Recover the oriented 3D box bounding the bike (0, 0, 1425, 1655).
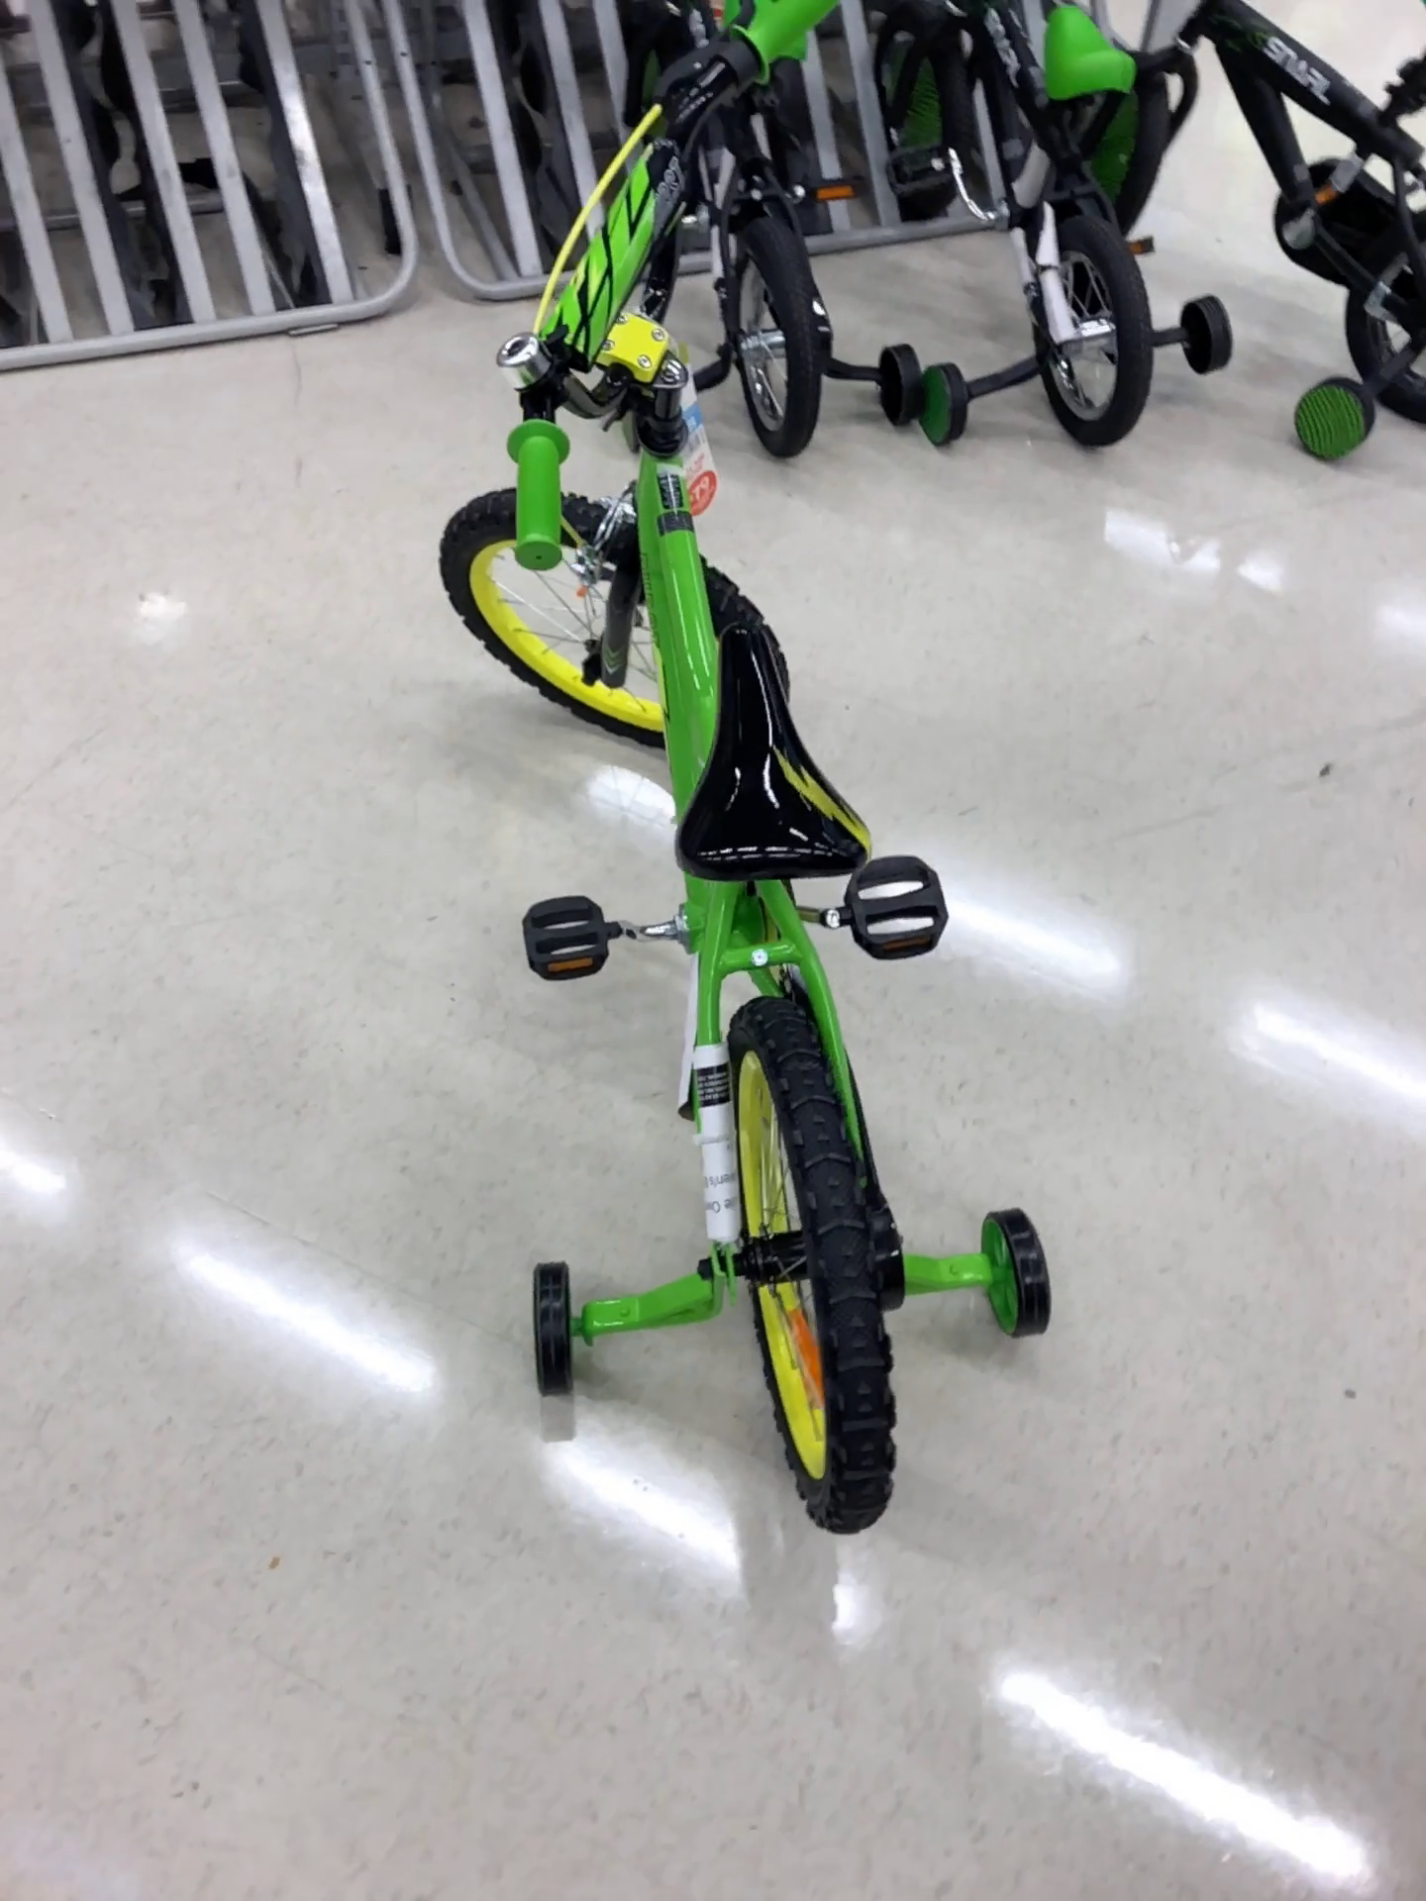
[{"bbox_3d":[-0.081,-0.188,1.153,0.552,0.807,1.048,-15,60,-14],"label":"bike"}]
